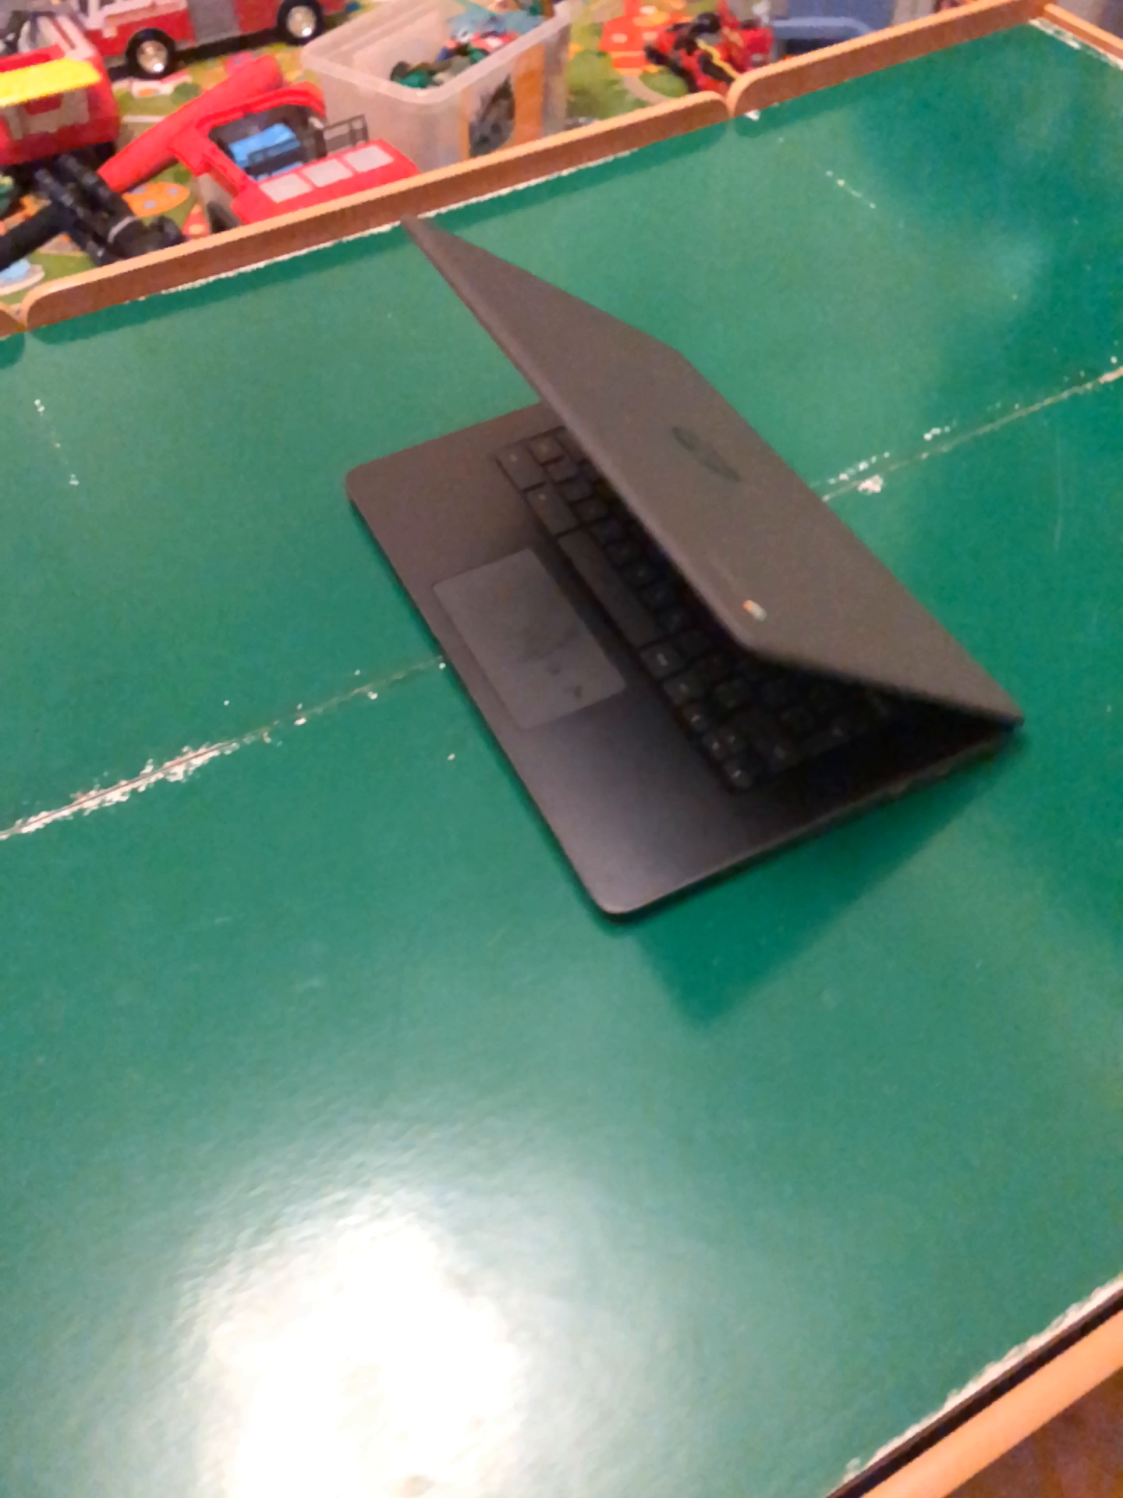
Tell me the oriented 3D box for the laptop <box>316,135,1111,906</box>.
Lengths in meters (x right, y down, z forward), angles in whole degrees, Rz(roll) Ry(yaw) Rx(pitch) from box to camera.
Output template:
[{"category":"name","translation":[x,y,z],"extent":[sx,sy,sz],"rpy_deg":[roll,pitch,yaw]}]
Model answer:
[{"category":"laptop","translation":[0.047,-0.127,0.588],"extent":[0.208,0.144,0.318],"rpy_deg":[-23,55,-14]}]
